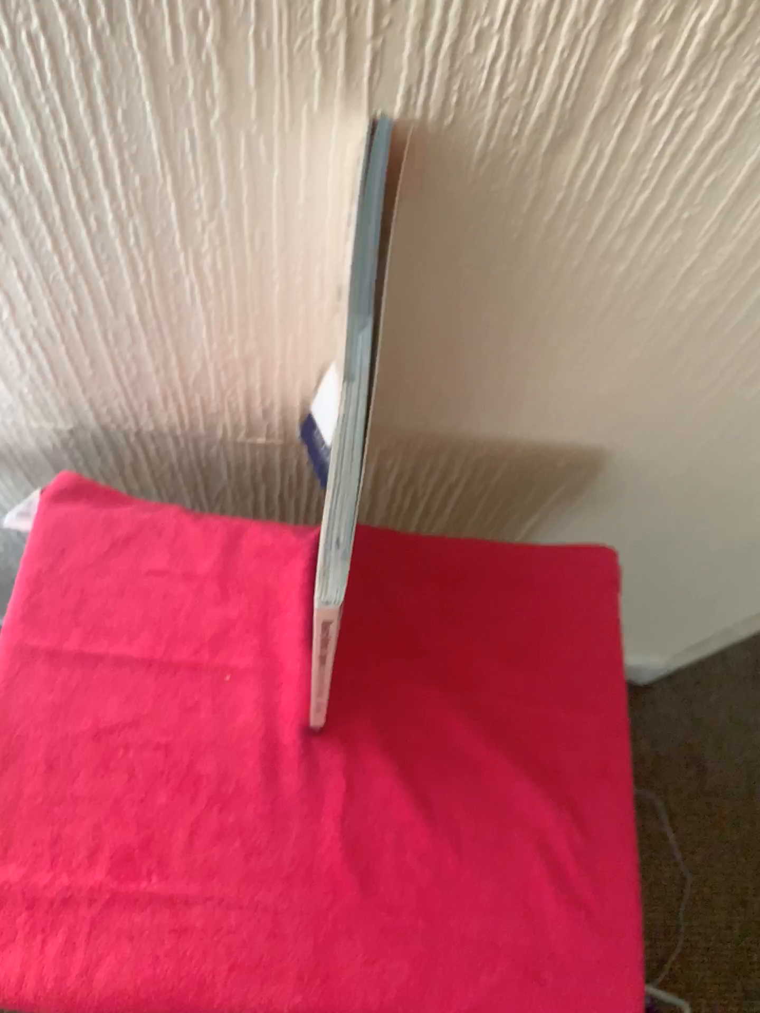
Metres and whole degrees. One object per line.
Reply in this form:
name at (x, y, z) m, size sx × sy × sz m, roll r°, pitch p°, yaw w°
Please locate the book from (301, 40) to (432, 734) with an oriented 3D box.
book at (-0.008, -0.028, 0.420) m, size 0.020 × 0.288 × 0.251 m, roll 7°, pitch 66°, yaw 0°
